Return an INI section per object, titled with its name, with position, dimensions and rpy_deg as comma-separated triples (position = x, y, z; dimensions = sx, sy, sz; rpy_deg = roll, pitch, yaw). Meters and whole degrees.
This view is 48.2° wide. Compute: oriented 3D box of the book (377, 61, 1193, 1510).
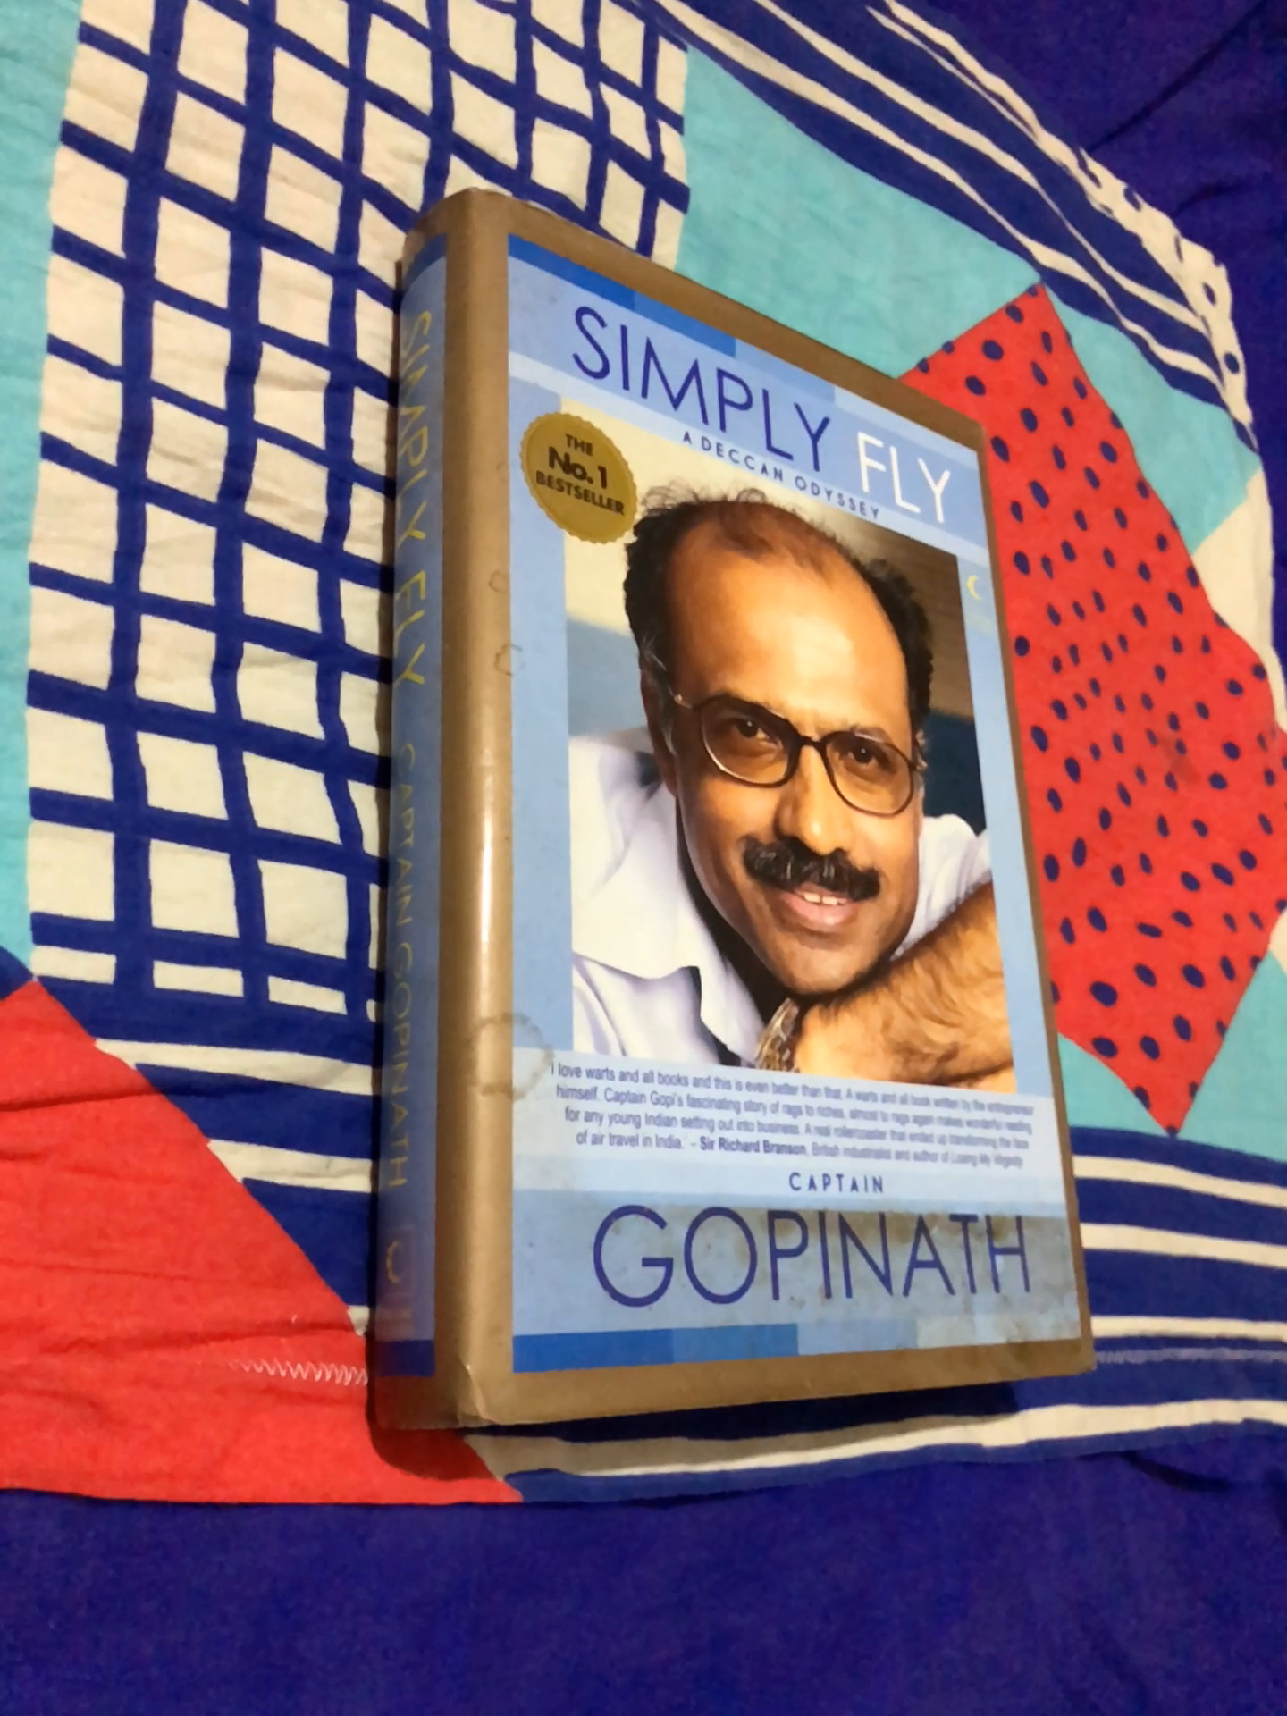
[book]
position = 0.031, -0.011, 0.301
dimensions = 0.161, 0.050, 0.250
rpy_deg = 11, 70, -37
